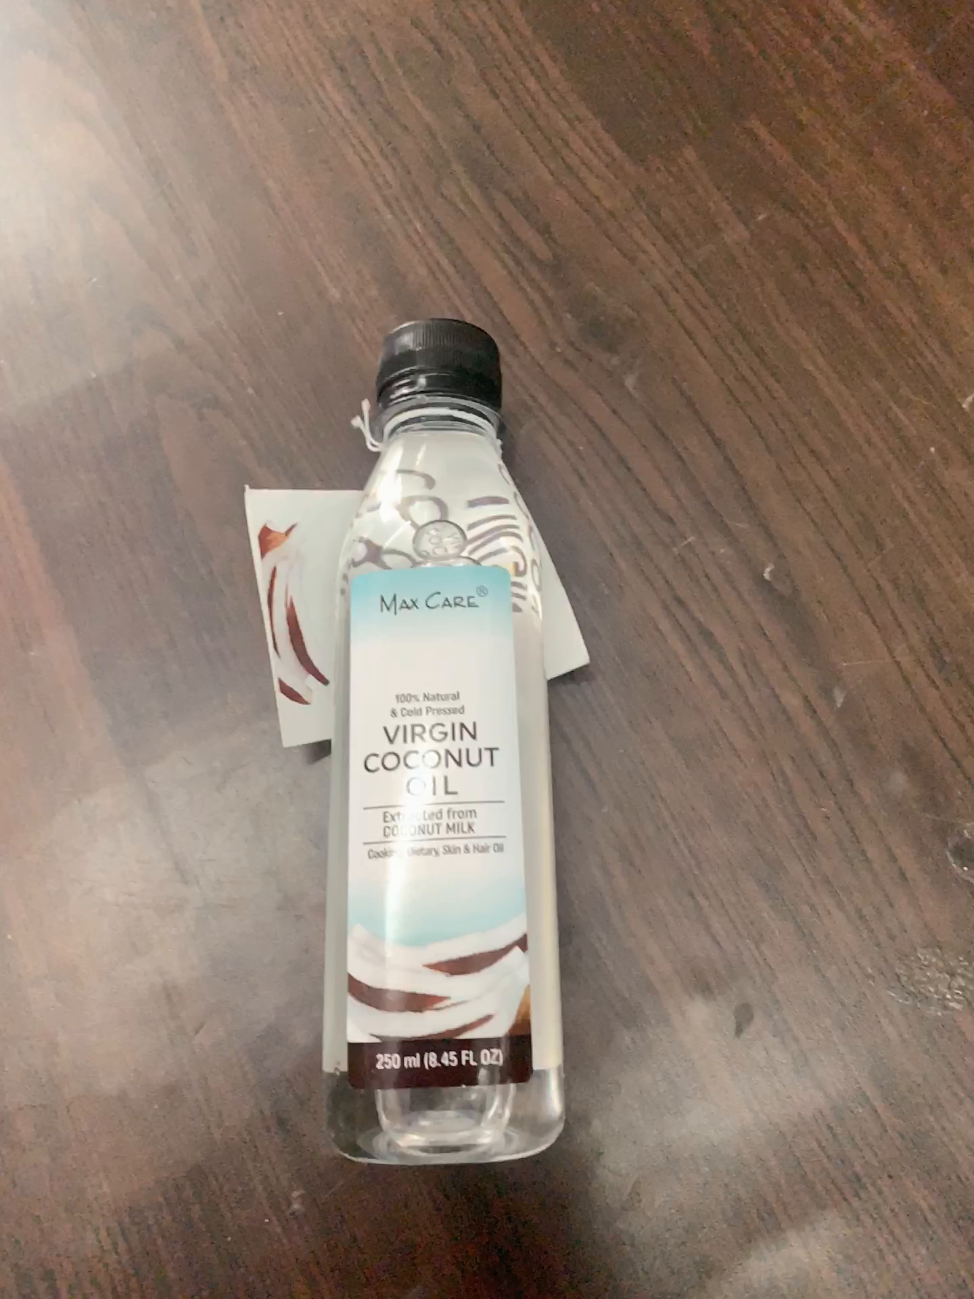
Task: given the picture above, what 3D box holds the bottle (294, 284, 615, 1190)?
[{"bbox_3d":[-0.006,0.012,0.209,0.050,0.050,0.170,-1,71,0],"label":"bottle"}]
